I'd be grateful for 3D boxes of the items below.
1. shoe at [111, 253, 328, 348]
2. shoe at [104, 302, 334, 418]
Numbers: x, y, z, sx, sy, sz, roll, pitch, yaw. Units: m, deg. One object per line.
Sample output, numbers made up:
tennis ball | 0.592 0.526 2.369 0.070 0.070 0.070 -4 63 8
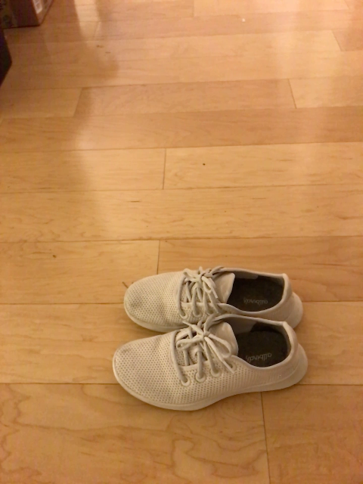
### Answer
shoe | 0.053 0.087 0.596 0.290 0.080 0.111 1 52 4
shoe | 0.044 0.162 0.542 0.280 0.080 0.111 -5 52 0
